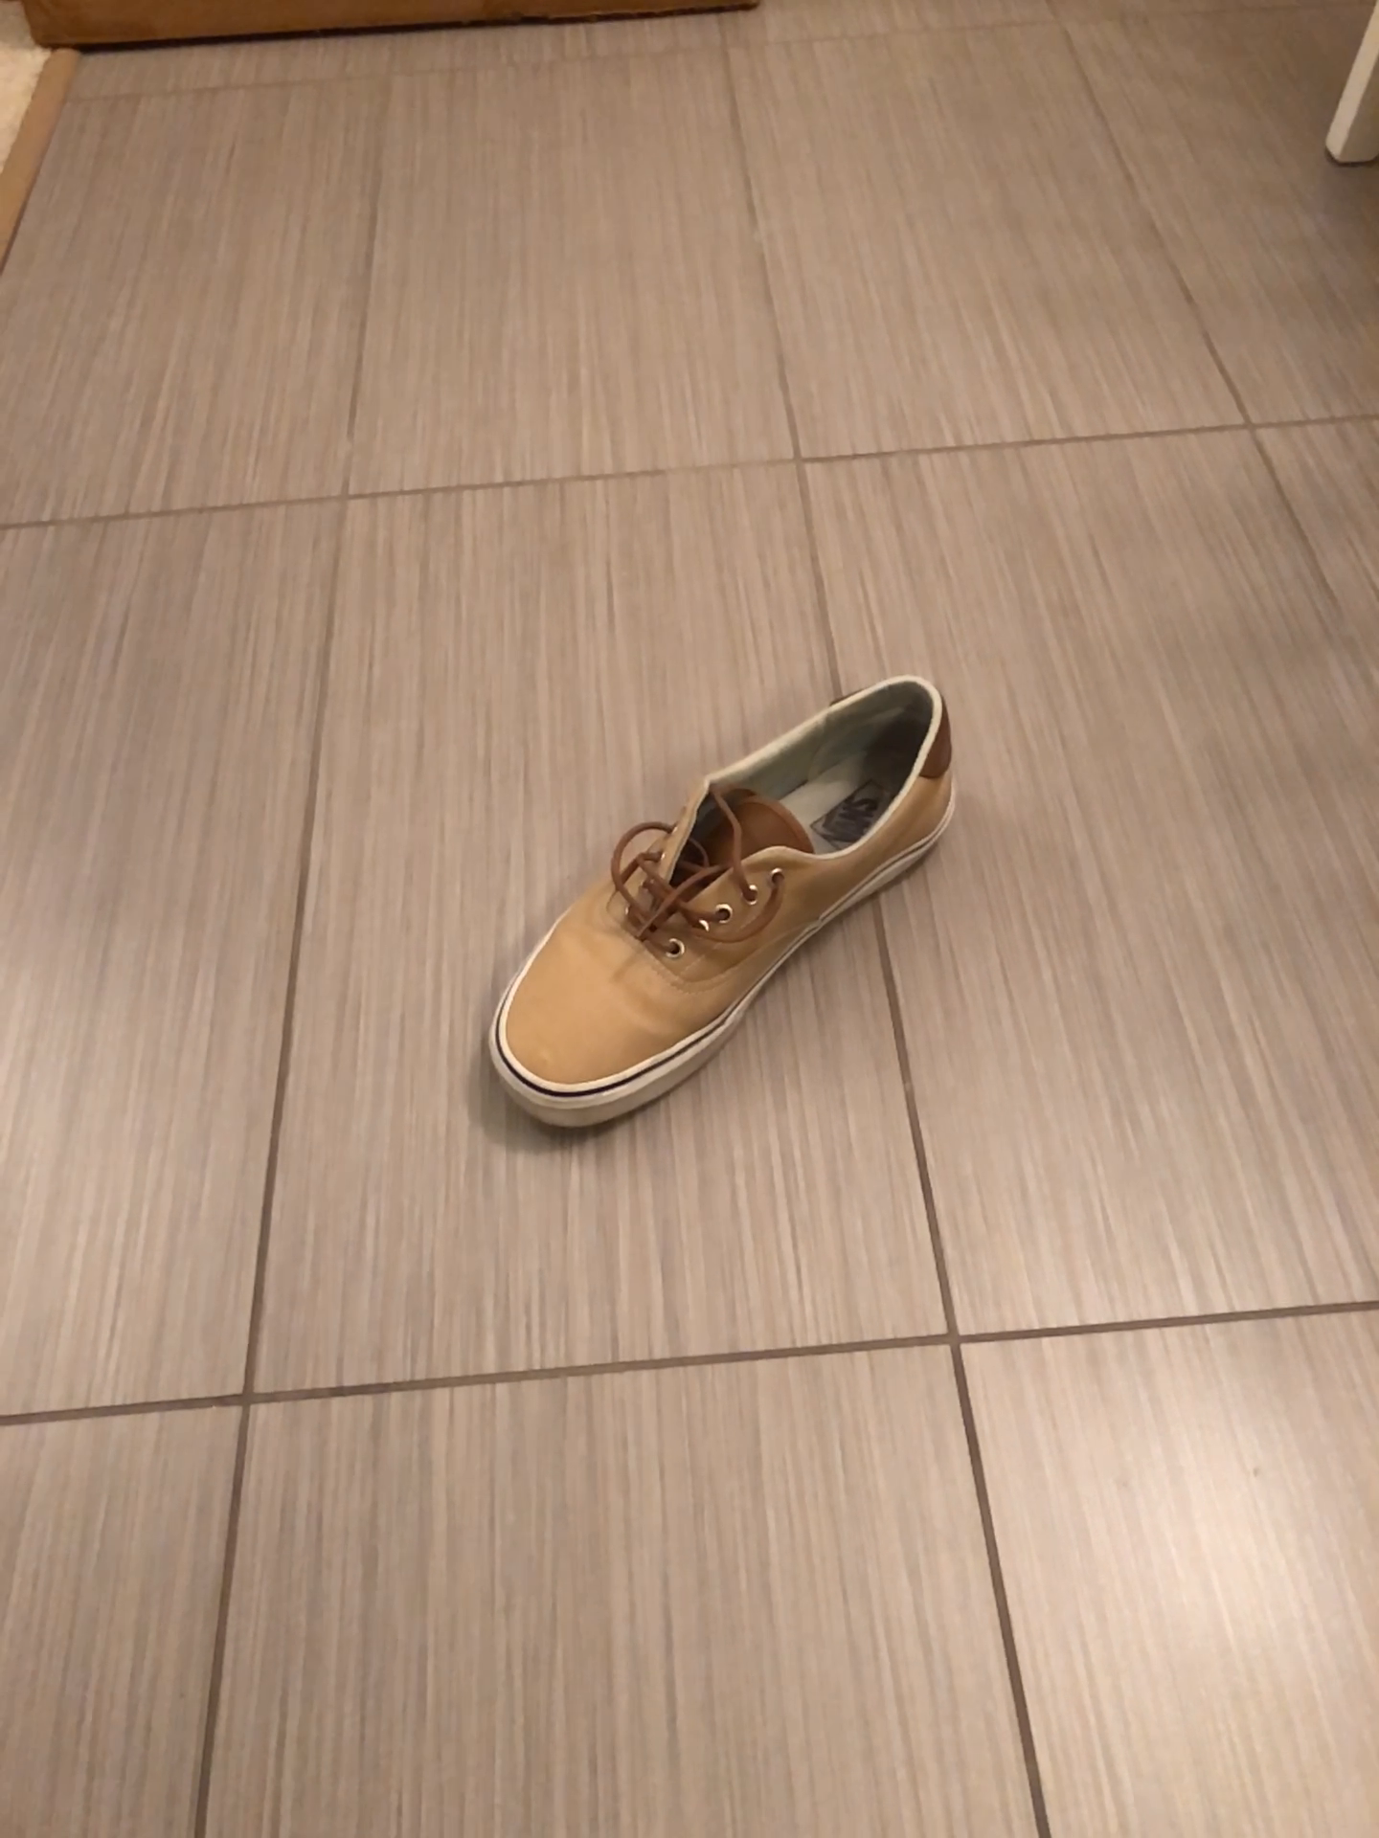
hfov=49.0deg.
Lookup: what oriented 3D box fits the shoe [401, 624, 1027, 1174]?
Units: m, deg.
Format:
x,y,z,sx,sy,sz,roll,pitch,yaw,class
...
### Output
x,y,z,sx,sy,sz,roll,pitch,yaw,class
0.020,-0.021,0.757,0.311,0.070,0.110,-37,59,-23,shoe
